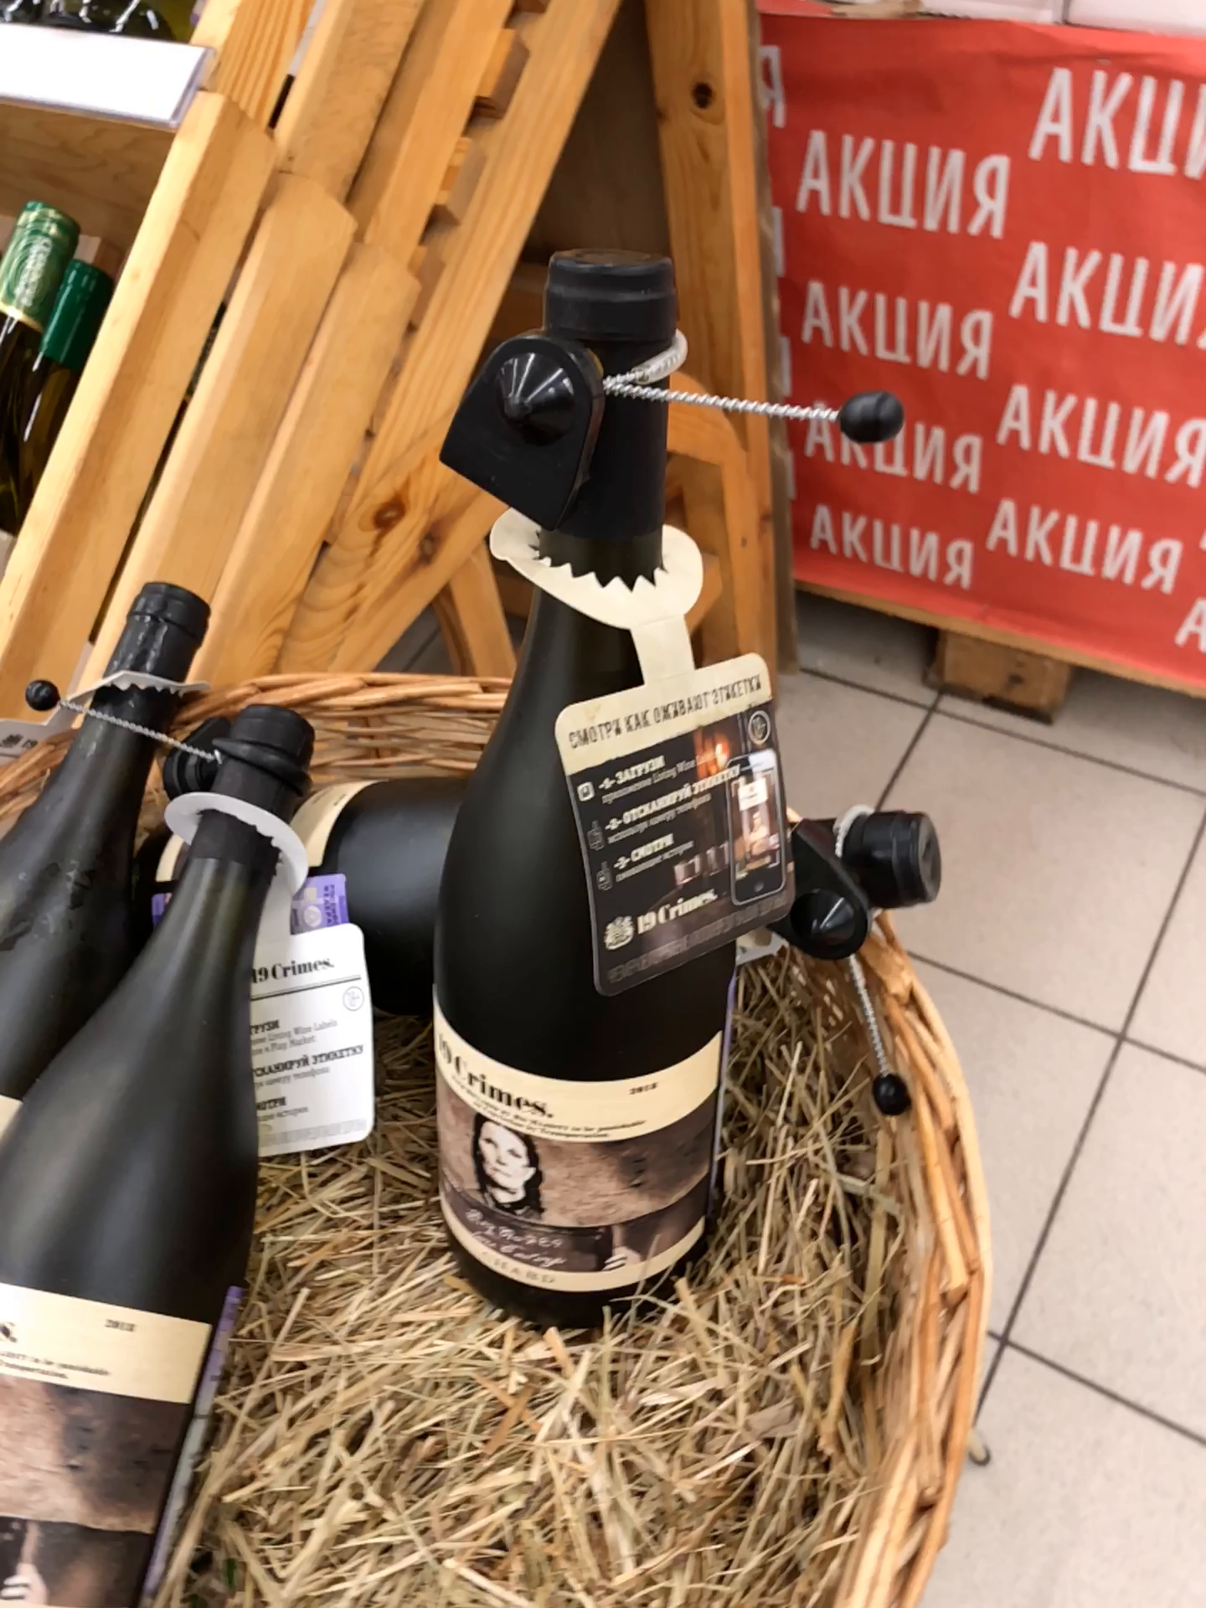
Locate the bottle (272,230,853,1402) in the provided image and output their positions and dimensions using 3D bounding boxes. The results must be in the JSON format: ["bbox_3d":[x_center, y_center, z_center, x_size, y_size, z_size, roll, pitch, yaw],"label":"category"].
[{"bbox_3d":[-0.005,0.016,0.346,0.090,0.289,0.080,15,35,22],"label":"bottle"}]
